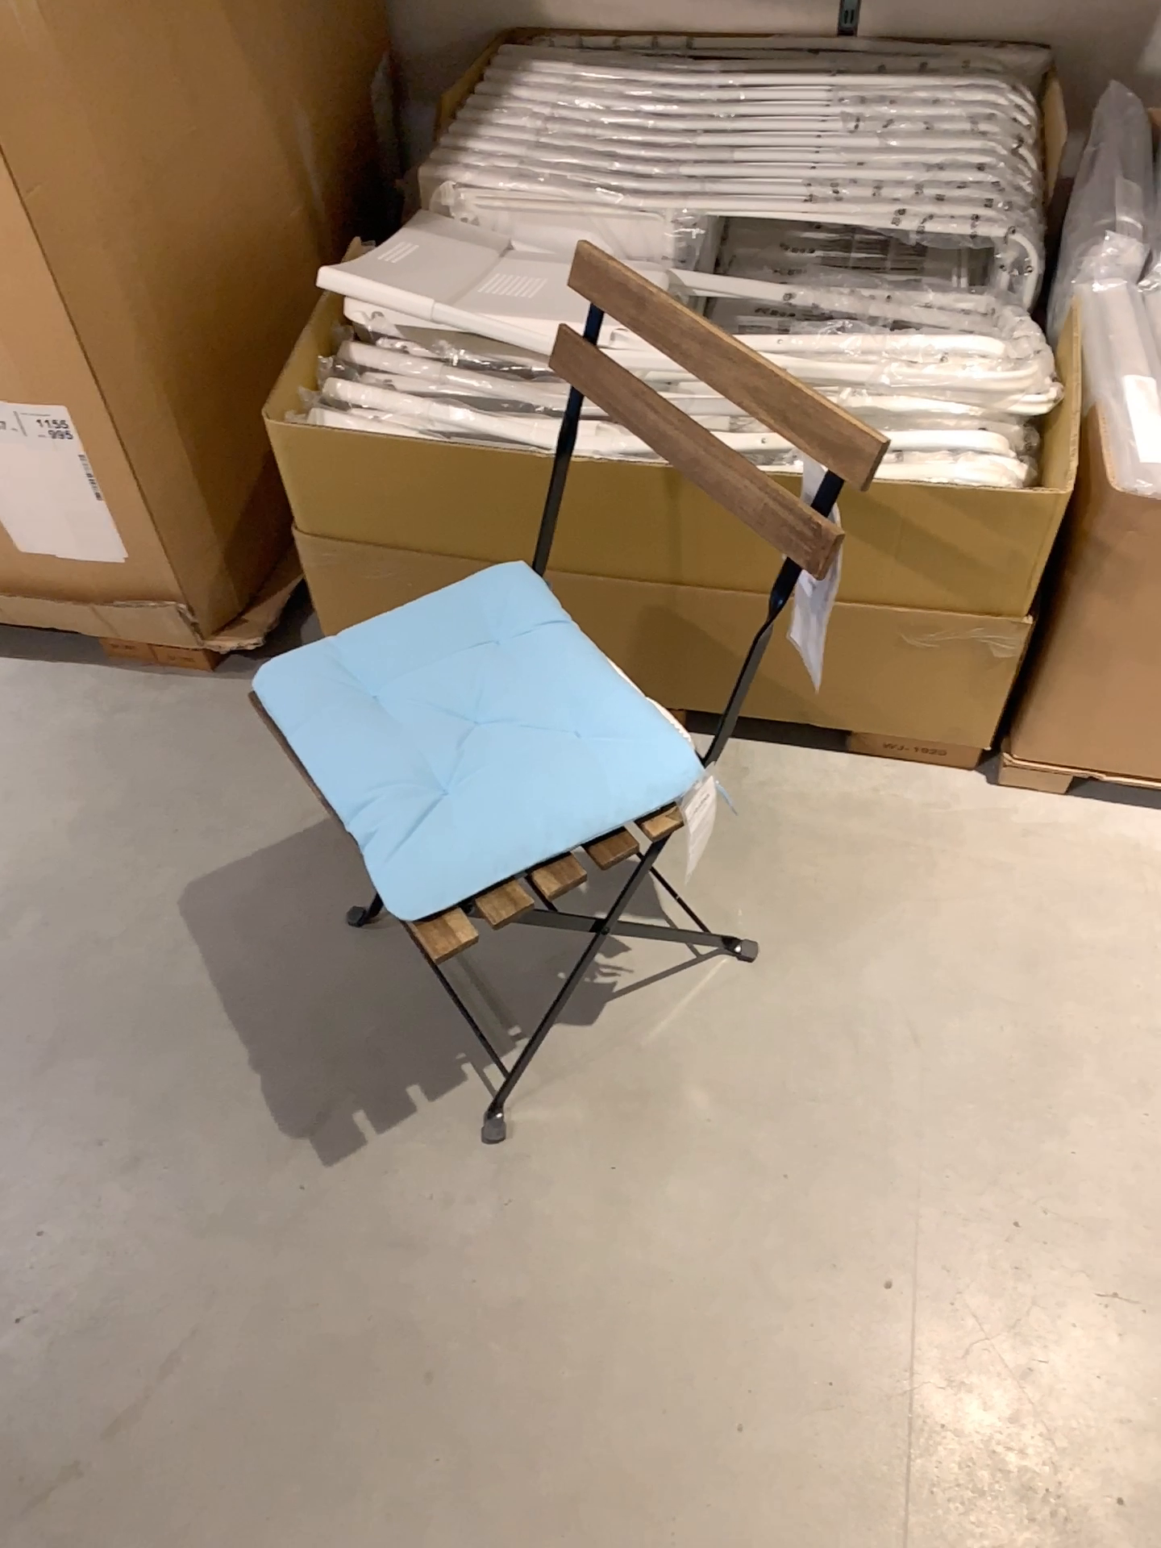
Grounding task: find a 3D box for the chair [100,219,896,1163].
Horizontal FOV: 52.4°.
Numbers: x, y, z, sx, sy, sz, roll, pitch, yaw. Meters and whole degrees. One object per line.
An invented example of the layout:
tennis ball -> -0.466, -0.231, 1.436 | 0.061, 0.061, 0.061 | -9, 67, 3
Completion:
chair -> -0.055, -0.041, 1.178 | 0.460, 0.738, 0.401 | -30, 55, -19
